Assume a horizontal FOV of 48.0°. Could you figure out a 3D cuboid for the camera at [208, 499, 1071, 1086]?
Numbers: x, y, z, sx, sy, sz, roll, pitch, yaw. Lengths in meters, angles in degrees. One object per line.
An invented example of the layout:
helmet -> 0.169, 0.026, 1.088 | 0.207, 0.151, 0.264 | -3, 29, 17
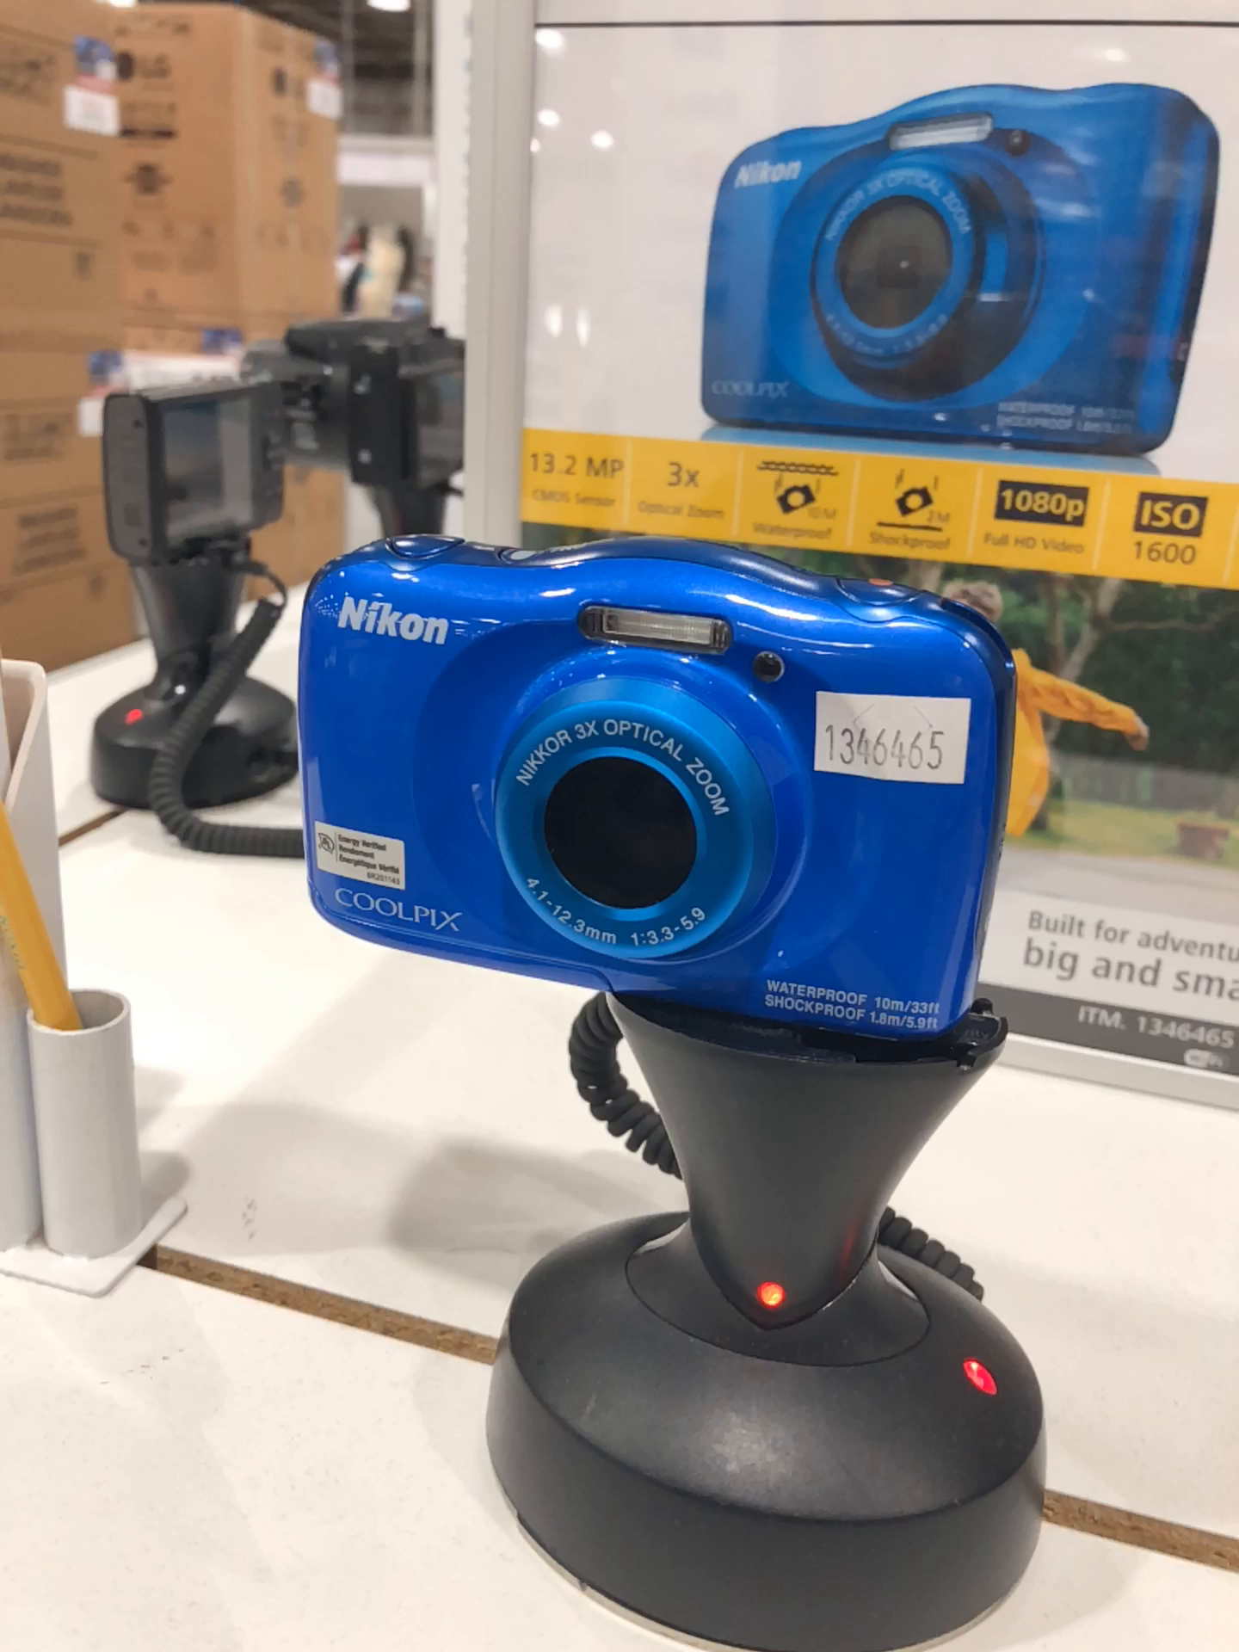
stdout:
camera -> 0.002, -0.009, 0.200 | 0.110, 0.060, 0.040 | 9, 21, 13
